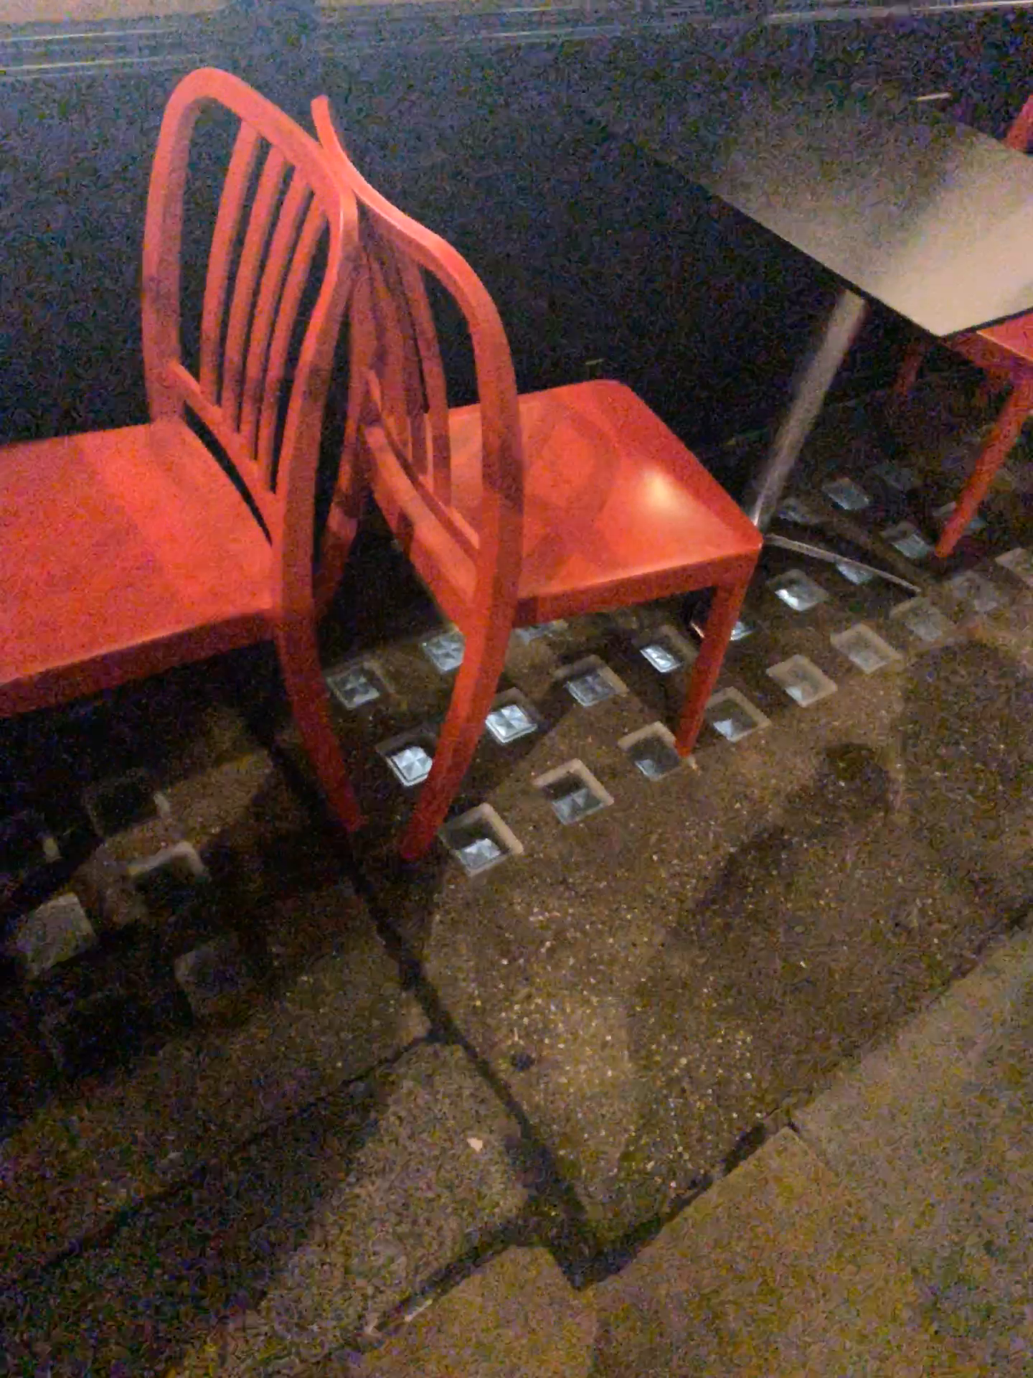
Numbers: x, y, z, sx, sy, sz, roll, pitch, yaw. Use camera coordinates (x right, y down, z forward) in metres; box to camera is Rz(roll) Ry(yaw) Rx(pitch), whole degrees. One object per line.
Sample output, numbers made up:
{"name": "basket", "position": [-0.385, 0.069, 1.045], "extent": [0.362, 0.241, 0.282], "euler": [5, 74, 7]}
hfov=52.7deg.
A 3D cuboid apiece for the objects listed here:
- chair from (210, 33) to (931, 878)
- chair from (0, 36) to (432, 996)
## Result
{"name": "chair", "position": [-0.002, -0.310, 1.418], "extent": [0.562, 0.851, 0.574], "euler": [-19, 51, -25]}
{"name": "chair", "position": [-0.490, -0.192, 1.233], "extent": [0.542, 0.851, 0.543], "euler": [-22, 52, -27]}
